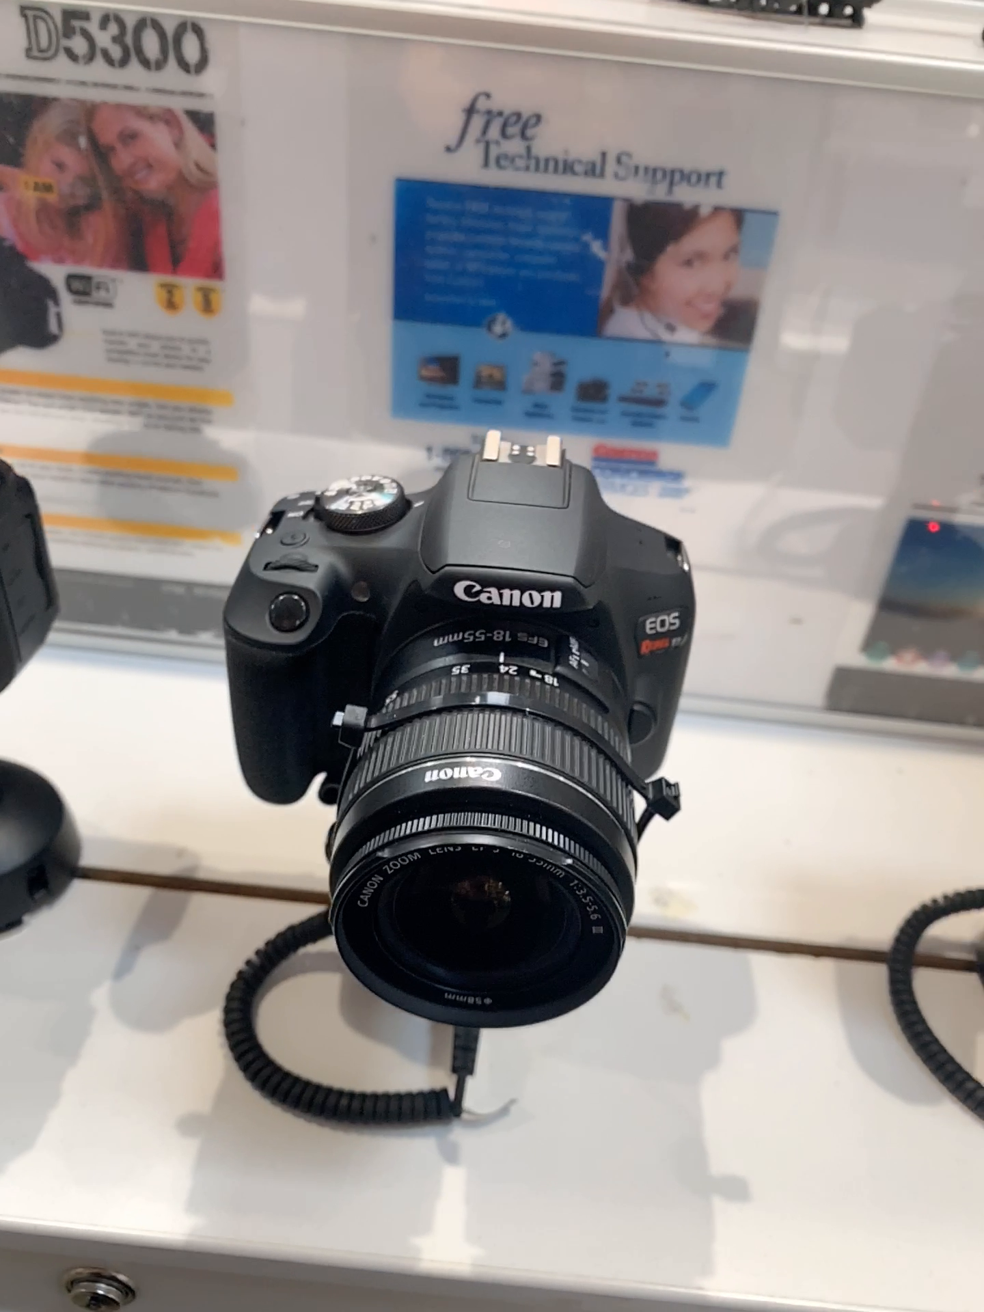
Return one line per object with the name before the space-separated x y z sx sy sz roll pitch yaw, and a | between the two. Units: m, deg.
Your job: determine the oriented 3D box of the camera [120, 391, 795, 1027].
camera | -0.009 0.009 0.260 0.122 0.104 0.110 5 35 -2
